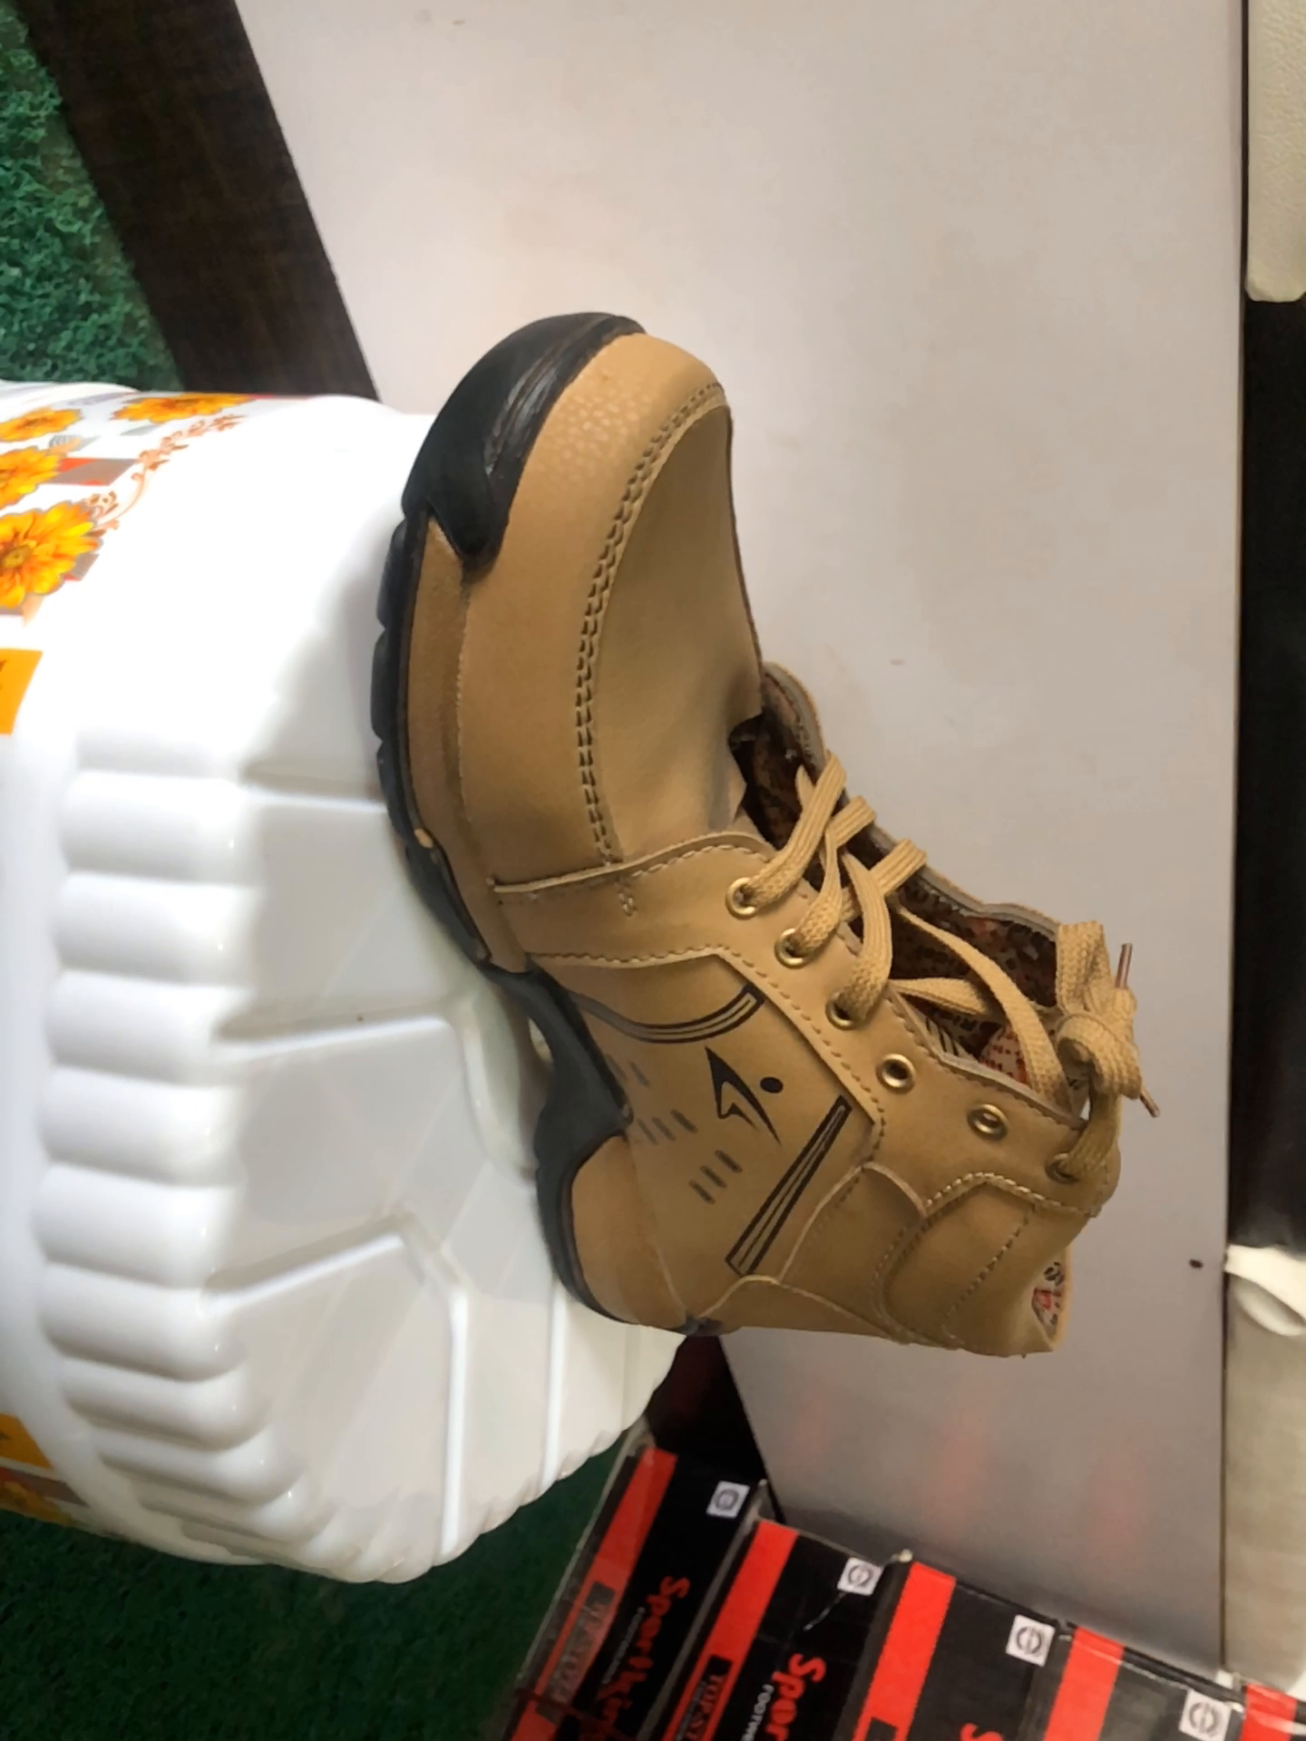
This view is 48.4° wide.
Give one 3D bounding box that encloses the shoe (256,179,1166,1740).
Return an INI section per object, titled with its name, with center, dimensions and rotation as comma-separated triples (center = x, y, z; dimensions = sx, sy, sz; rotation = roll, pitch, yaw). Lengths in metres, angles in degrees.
[shoe]
center = 0.045, 0.029, 0.322
dimensions = 0.141, 0.109, 0.301
rotation = -53, 140, -48
